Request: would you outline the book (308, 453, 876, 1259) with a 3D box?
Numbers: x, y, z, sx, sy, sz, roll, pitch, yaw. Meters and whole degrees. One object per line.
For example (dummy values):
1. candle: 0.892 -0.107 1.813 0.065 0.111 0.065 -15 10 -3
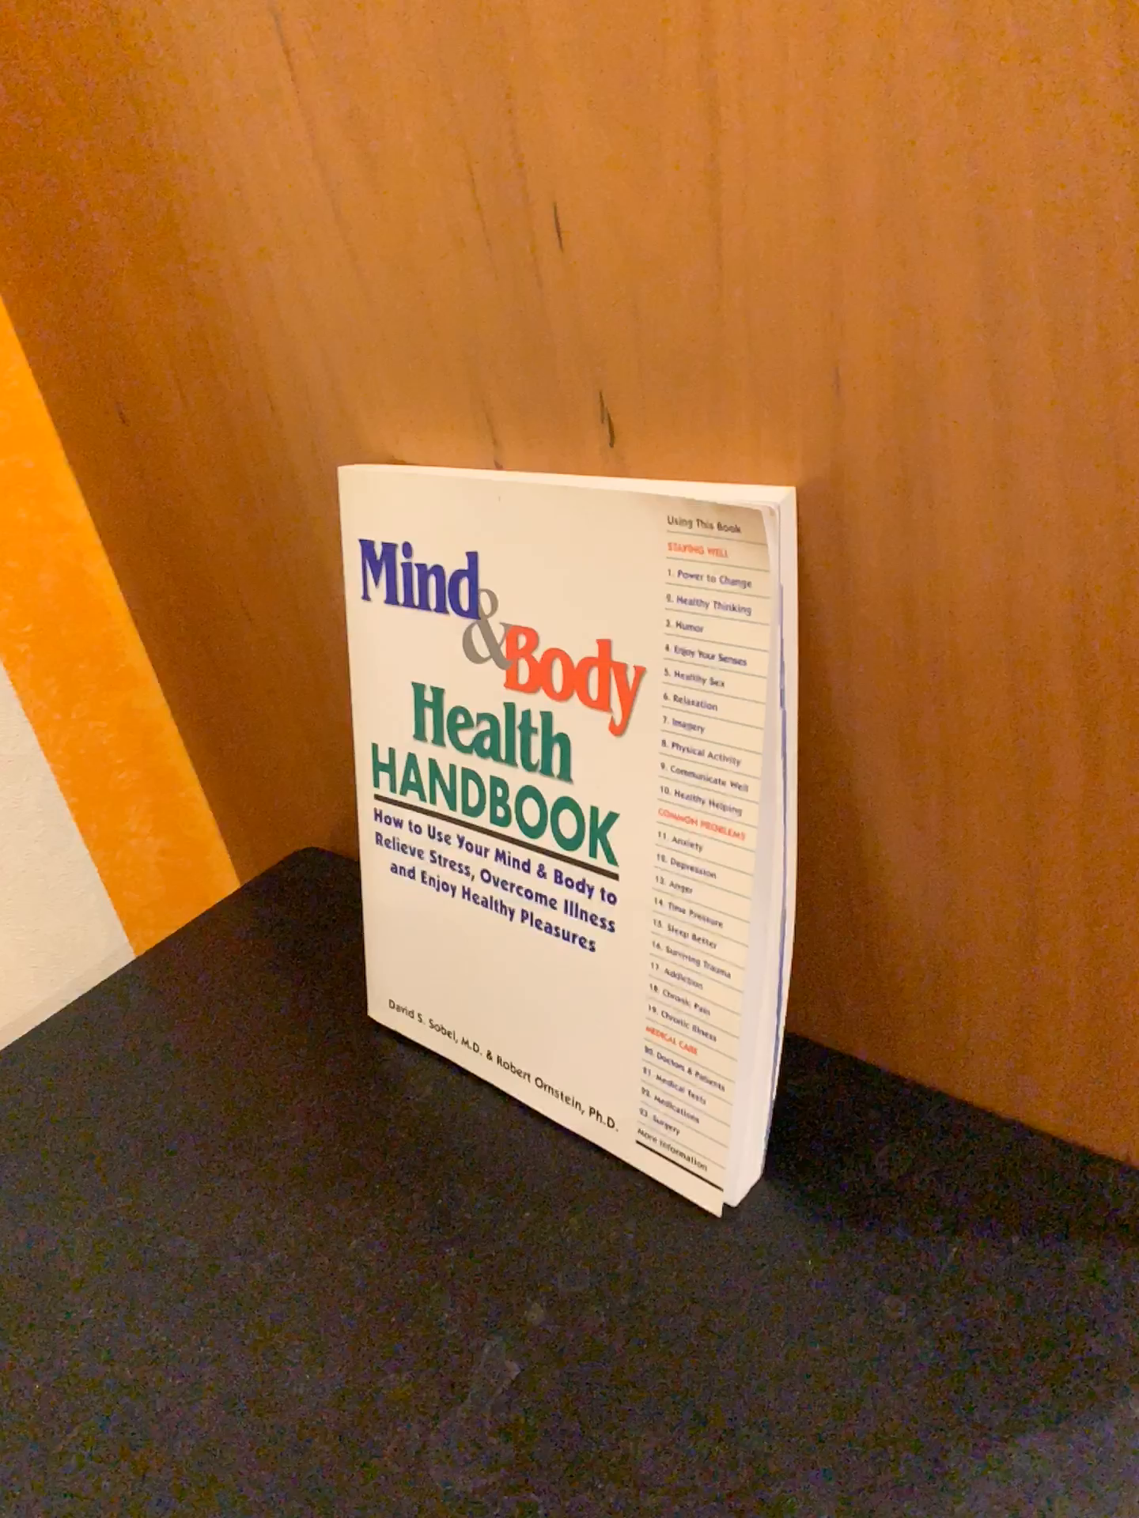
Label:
1. book: -0.009 0.016 0.409 0.211 0.229 0.040 16 21 41
